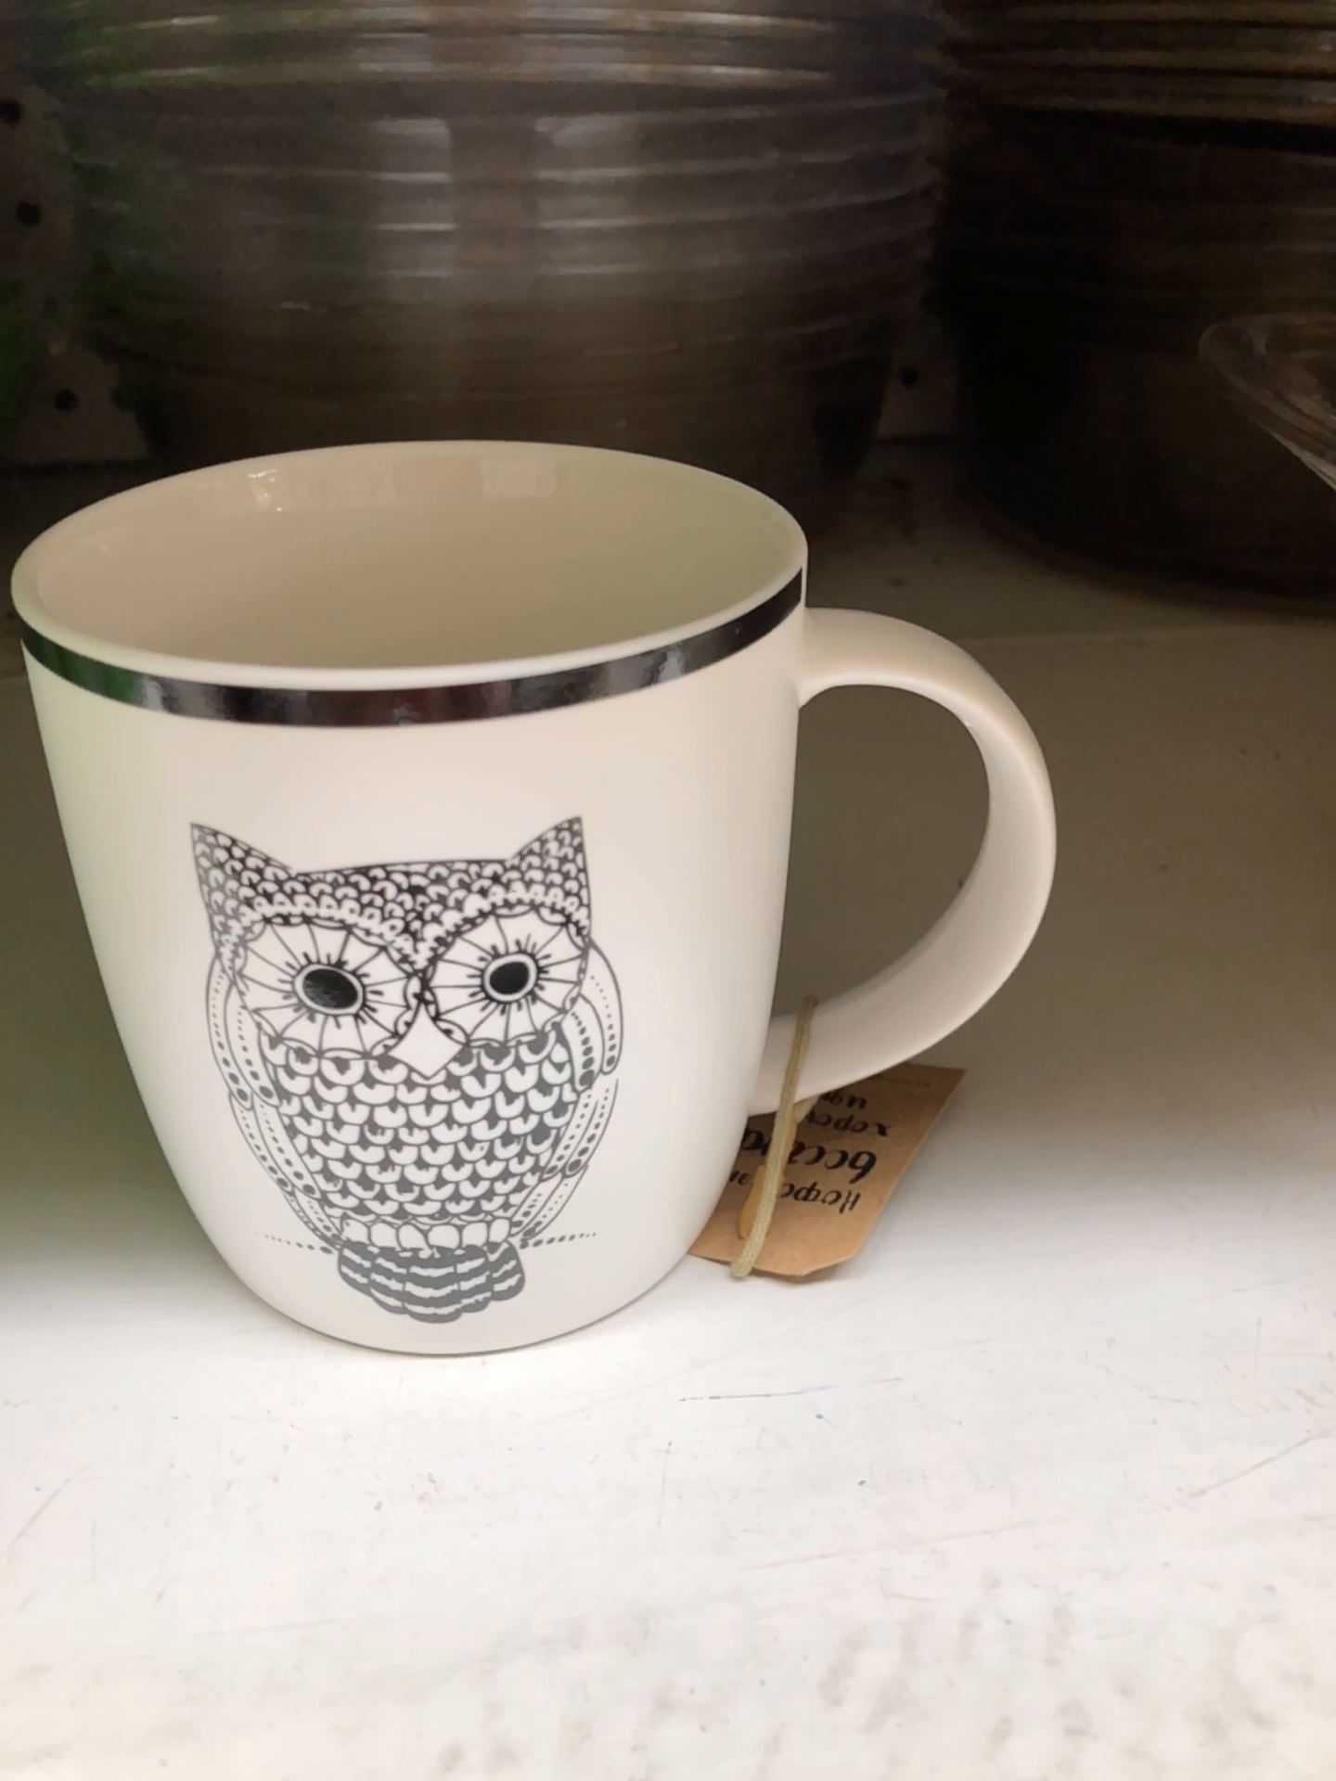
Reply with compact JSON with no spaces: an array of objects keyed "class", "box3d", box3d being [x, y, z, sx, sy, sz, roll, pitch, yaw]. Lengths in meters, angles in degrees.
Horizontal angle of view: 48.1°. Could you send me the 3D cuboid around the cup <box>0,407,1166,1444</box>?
[{"class":"cup","box3d":[-0.014,-0.003,0.189,0.110,0.093,0.078,-6,30,-10]}]
